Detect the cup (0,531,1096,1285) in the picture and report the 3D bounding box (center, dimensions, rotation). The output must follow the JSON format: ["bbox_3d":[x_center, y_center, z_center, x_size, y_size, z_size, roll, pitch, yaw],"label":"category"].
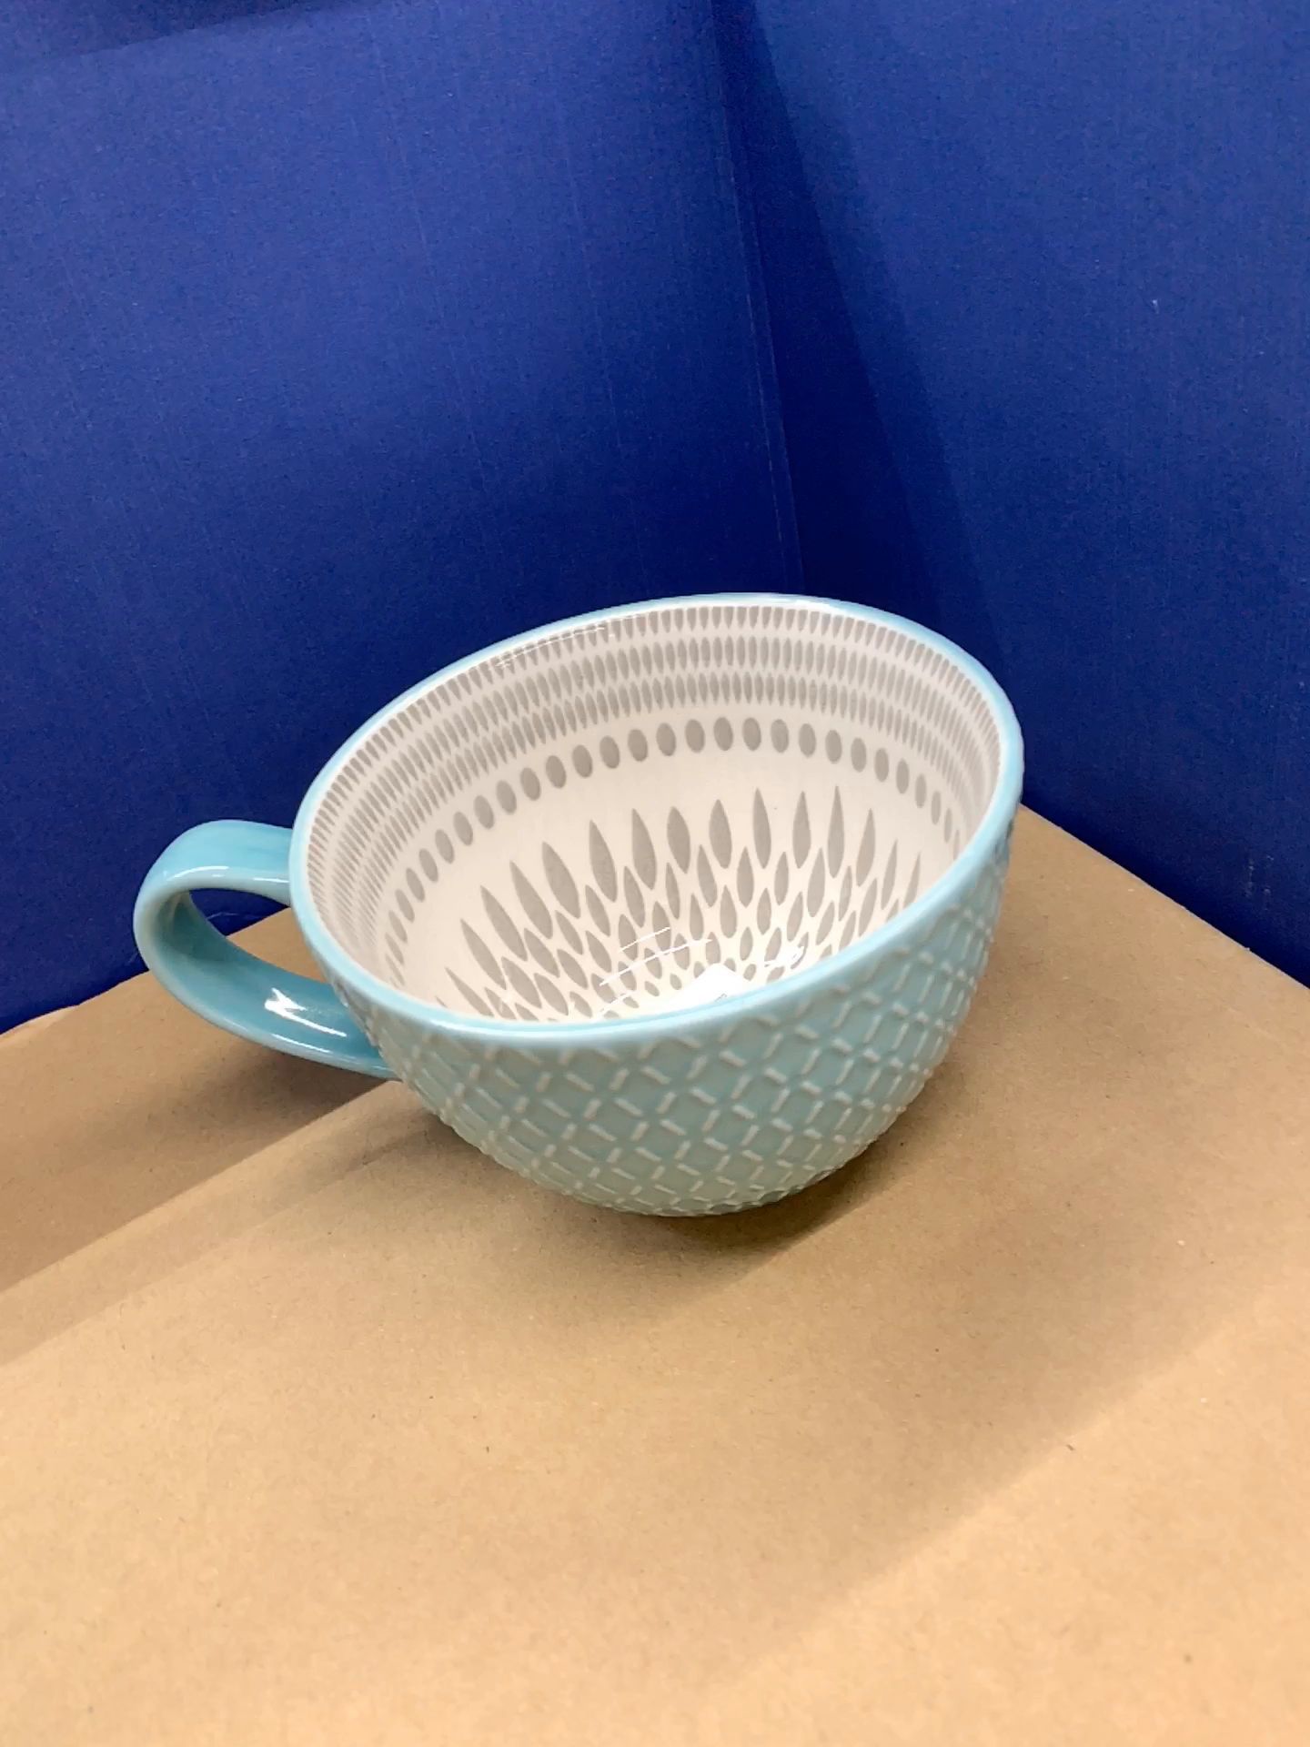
[{"bbox_3d":[-0.012,0.004,0.232,0.152,0.059,0.113,-4,41,12],"label":"cup"}]
